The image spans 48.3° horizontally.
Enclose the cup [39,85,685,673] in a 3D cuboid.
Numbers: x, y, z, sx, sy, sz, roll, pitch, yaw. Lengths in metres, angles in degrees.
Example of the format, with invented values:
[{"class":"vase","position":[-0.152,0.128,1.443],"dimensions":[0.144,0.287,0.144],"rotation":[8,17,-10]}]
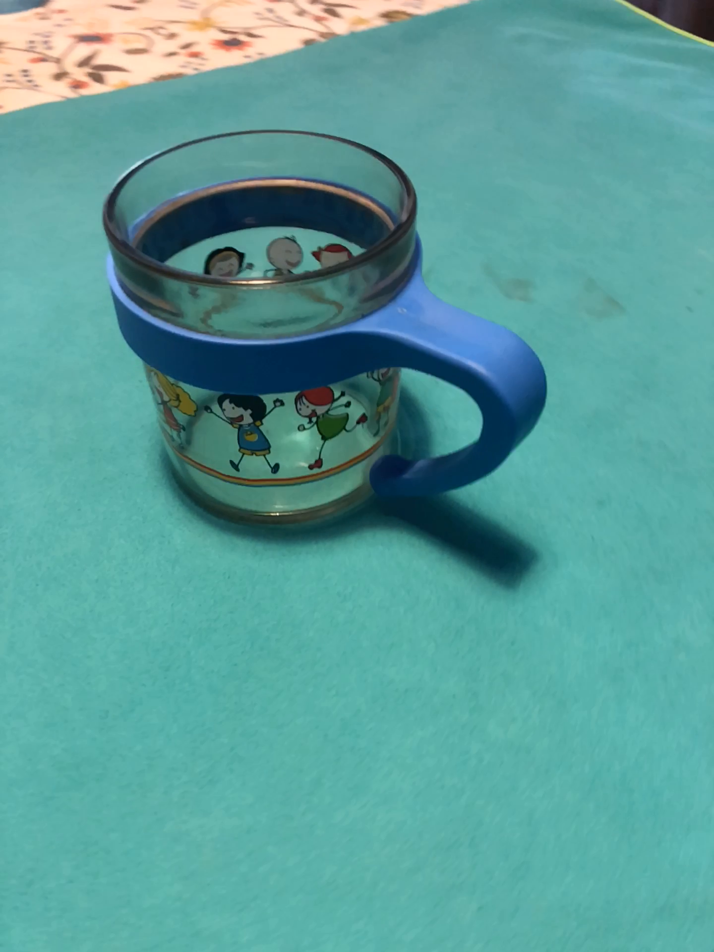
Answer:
[{"class":"cup","position":[0.000,-0.035,0.227],"dimensions":[0.130,0.089,0.090],"rotation":[30,54,25]}]
